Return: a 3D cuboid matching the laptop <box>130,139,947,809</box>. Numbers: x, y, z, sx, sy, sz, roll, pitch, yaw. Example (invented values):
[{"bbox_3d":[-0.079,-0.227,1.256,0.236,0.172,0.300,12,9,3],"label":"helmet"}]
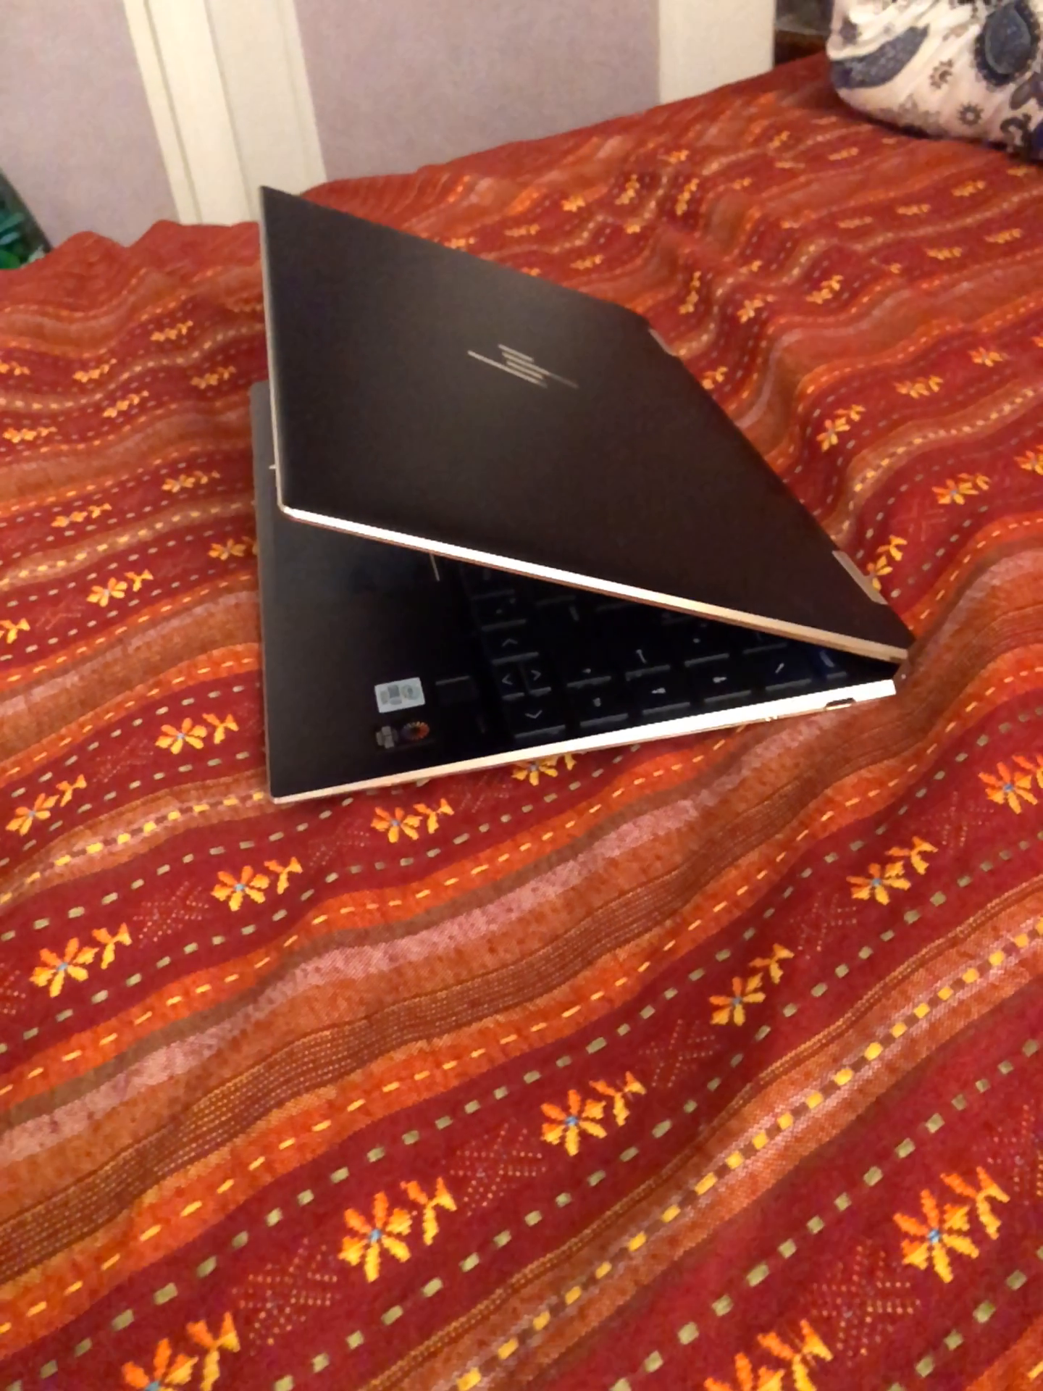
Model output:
[{"bbox_3d":[-0.008,-0.121,0.437,0.202,0.101,0.327,-8,35,-8],"label":"laptop"}]
